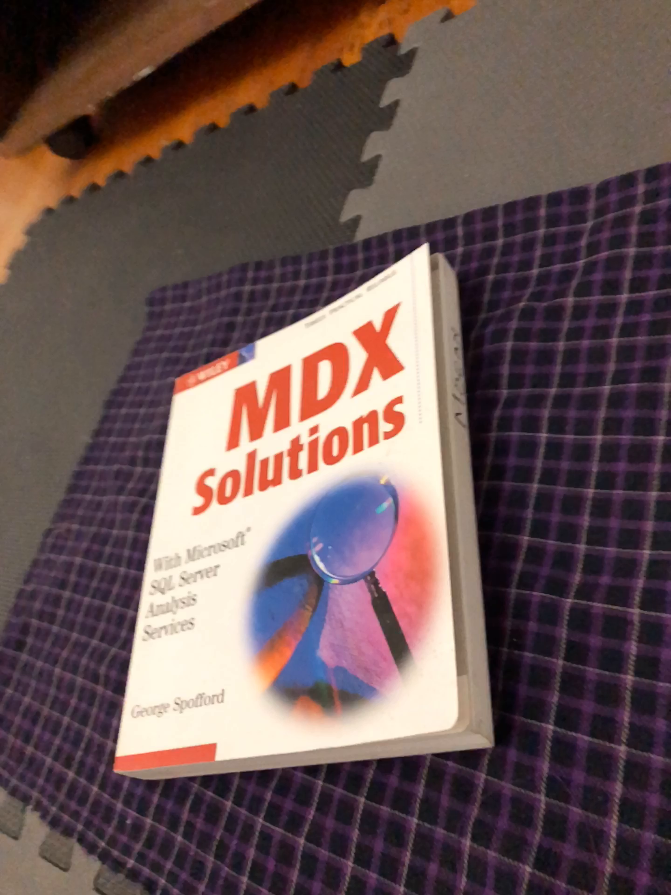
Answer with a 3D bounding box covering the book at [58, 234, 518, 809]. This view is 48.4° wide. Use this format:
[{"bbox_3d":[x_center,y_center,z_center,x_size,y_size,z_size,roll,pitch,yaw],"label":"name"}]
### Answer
[{"bbox_3d":[-0.029,0.040,0.399,0.221,0.050,0.261,-21,50,31],"label":"book"}]
